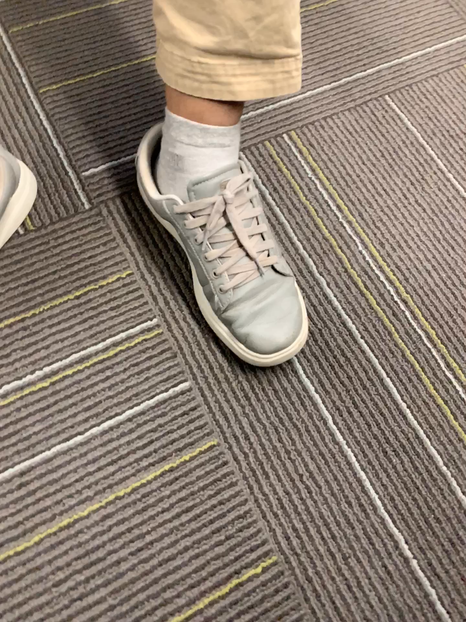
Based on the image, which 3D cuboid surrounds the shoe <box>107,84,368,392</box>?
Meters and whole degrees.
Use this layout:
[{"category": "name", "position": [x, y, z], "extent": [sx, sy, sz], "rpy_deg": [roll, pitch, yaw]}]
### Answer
[{"category": "shoe", "position": [-0.007, -0.078, 0.493], "extent": [0.120, 0.110, 0.281], "rpy_deg": [-27, 72, -15]}]

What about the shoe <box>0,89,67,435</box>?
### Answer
[{"category": "shoe", "position": [-0.286, -0.043, 0.448], "extent": [0.120, 0.140, 0.271], "rpy_deg": [16, 67, 2]}]
